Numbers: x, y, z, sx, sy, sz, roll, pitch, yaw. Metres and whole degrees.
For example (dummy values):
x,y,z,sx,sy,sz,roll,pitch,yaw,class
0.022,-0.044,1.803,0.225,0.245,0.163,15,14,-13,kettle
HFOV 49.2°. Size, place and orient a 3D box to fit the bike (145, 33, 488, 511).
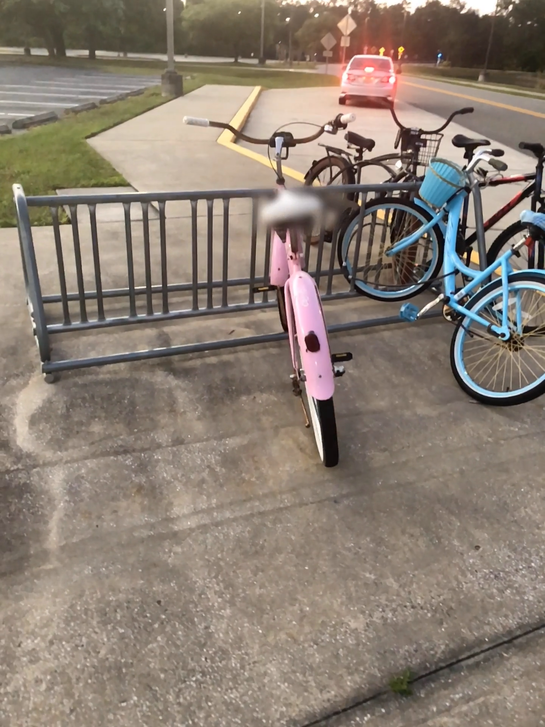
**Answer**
x,y,z,sx,sy,sz,roll,pitch,yaw,class
0.072,-0.523,2.362,0.838,1.116,1.663,1,33,-3,bike
